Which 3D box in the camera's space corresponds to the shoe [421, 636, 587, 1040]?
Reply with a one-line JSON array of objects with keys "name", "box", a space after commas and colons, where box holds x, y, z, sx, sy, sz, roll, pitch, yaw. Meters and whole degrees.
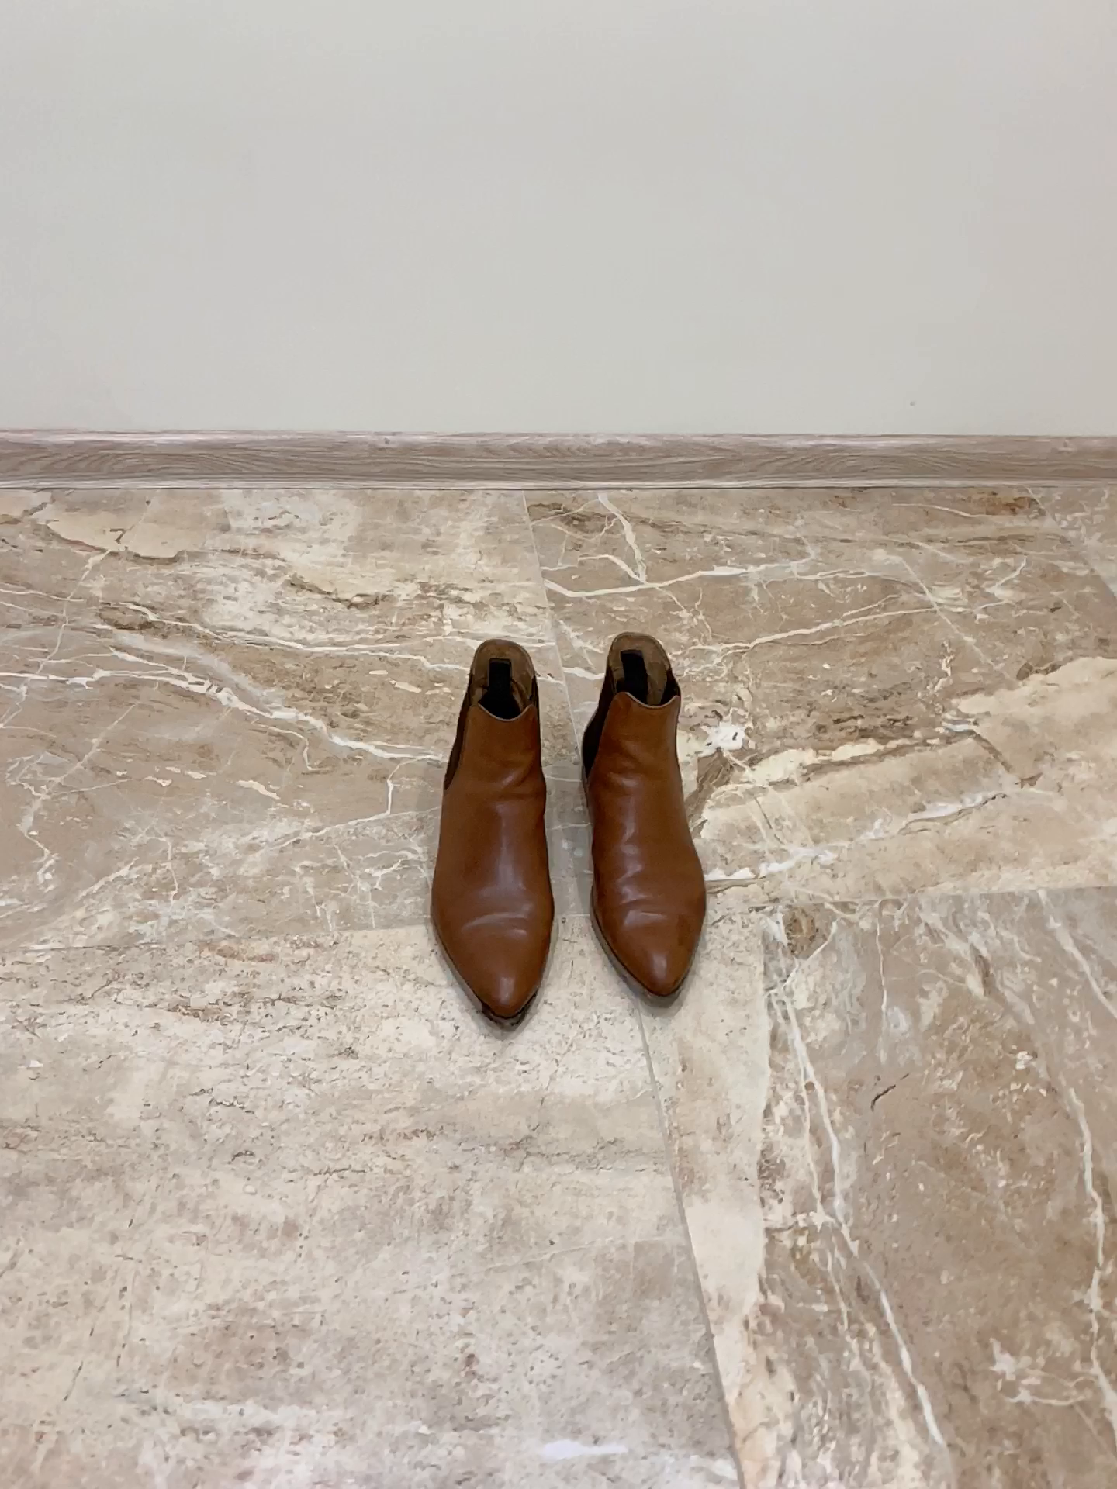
[{"name": "shoe", "box": [-0.047, 0.055, 0.781, 0.090, 0.129, 0.251, 0, 43, -8]}]

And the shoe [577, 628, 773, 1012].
[{"name": "shoe", "box": [0.070, 0.045, 0.797, 0.090, 0.119, 0.251, 2, 43, -5]}]
